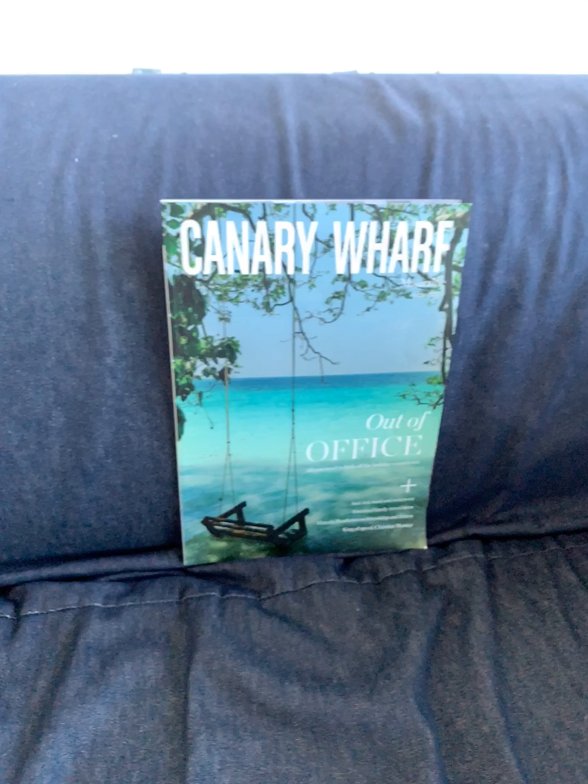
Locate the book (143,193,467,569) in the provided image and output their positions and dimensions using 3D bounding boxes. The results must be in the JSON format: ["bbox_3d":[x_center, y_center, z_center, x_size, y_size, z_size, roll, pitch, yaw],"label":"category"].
[{"bbox_3d":[0.008,0.000,0.446,0.205,0.273,0.030,-2,22,-6],"label":"book"}]
